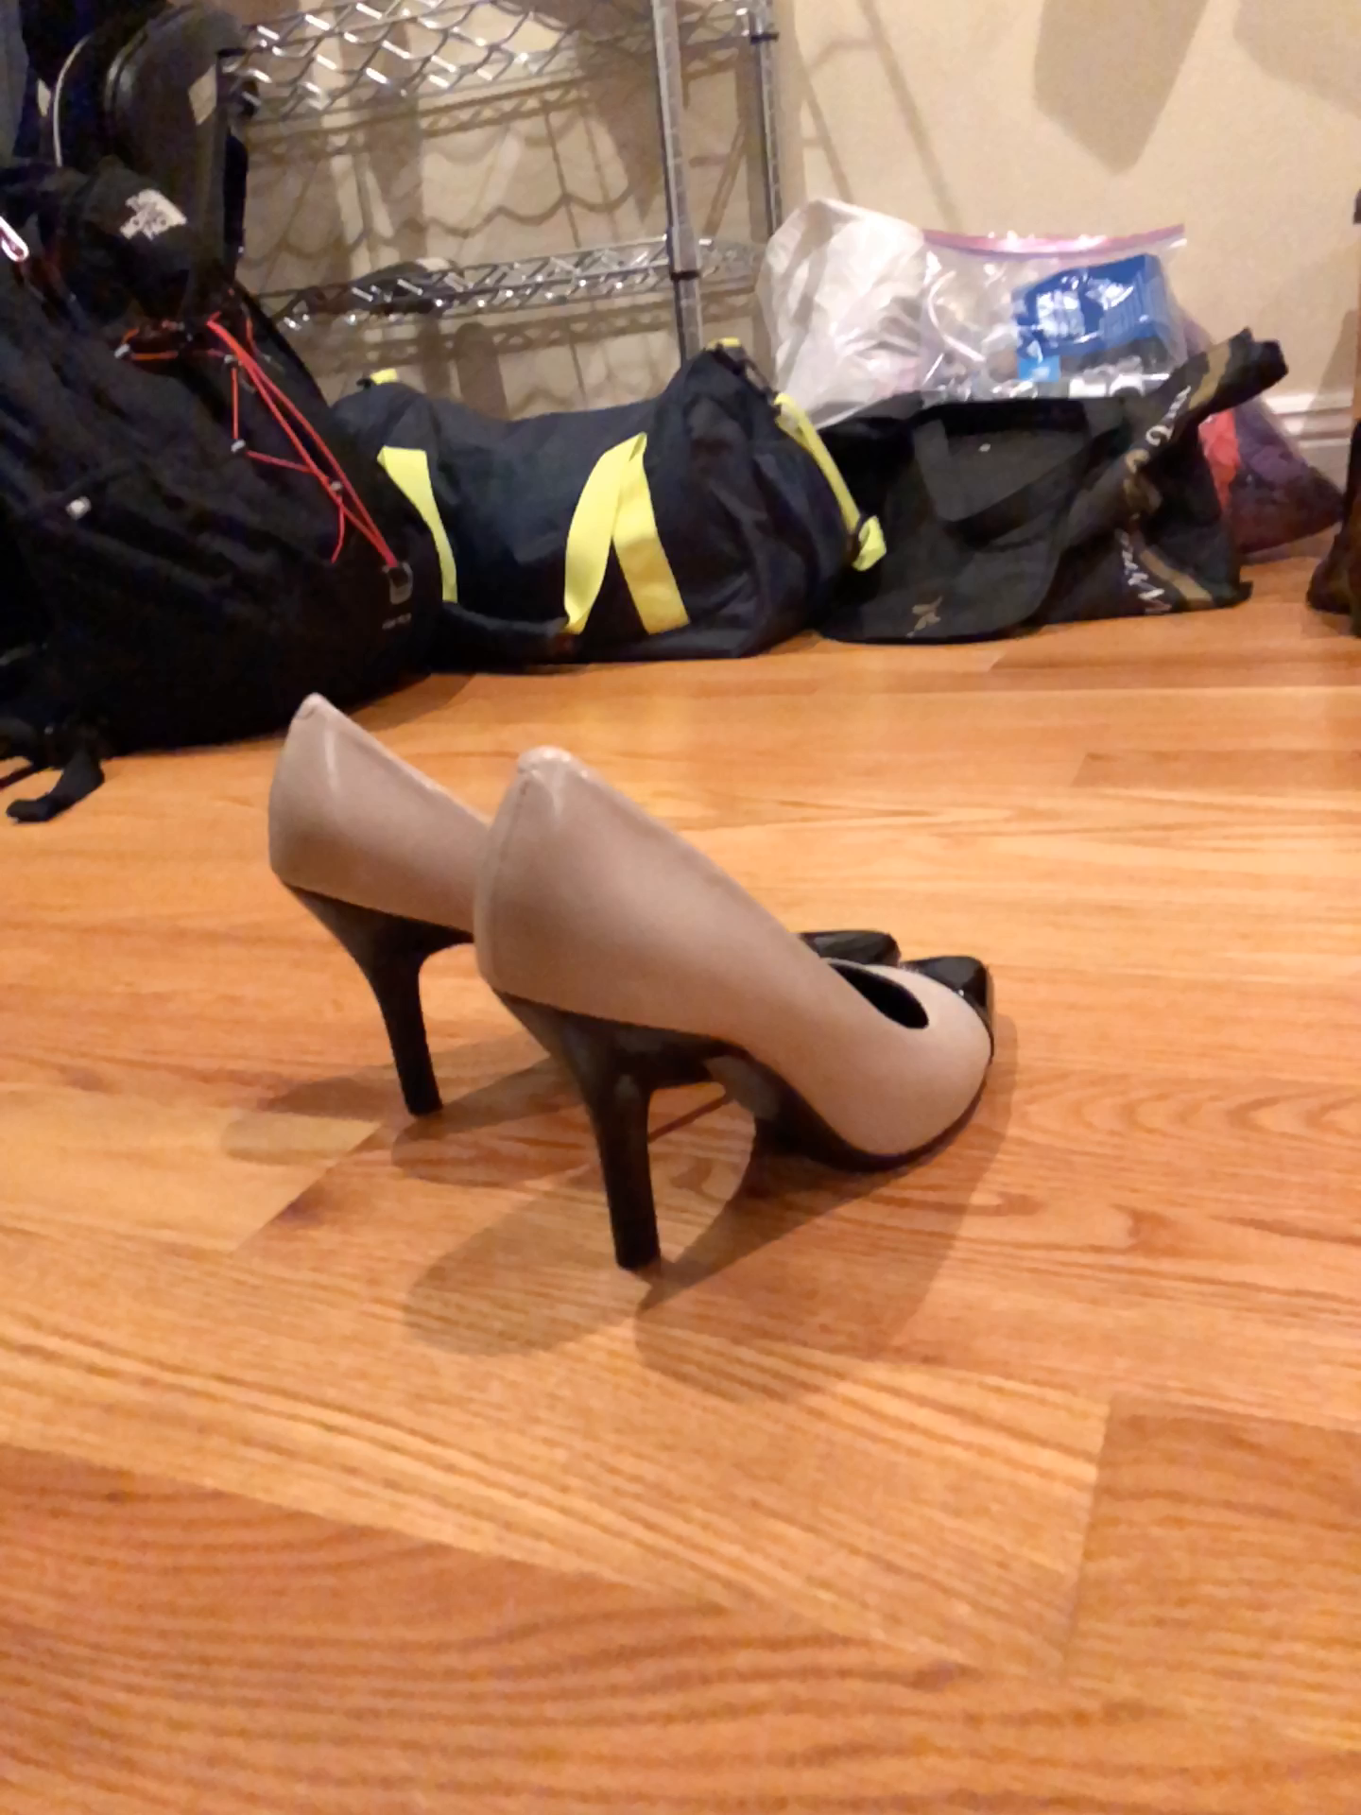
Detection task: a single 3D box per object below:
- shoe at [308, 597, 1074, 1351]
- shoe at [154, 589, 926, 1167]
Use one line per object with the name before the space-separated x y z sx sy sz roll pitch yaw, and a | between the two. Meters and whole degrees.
shoe | 0.023 -0.003 0.441 0.085 0.138 0.236 10 24 39
shoe | -0.043 -0.020 0.512 0.235 0.138 0.085 -12 19 -18
